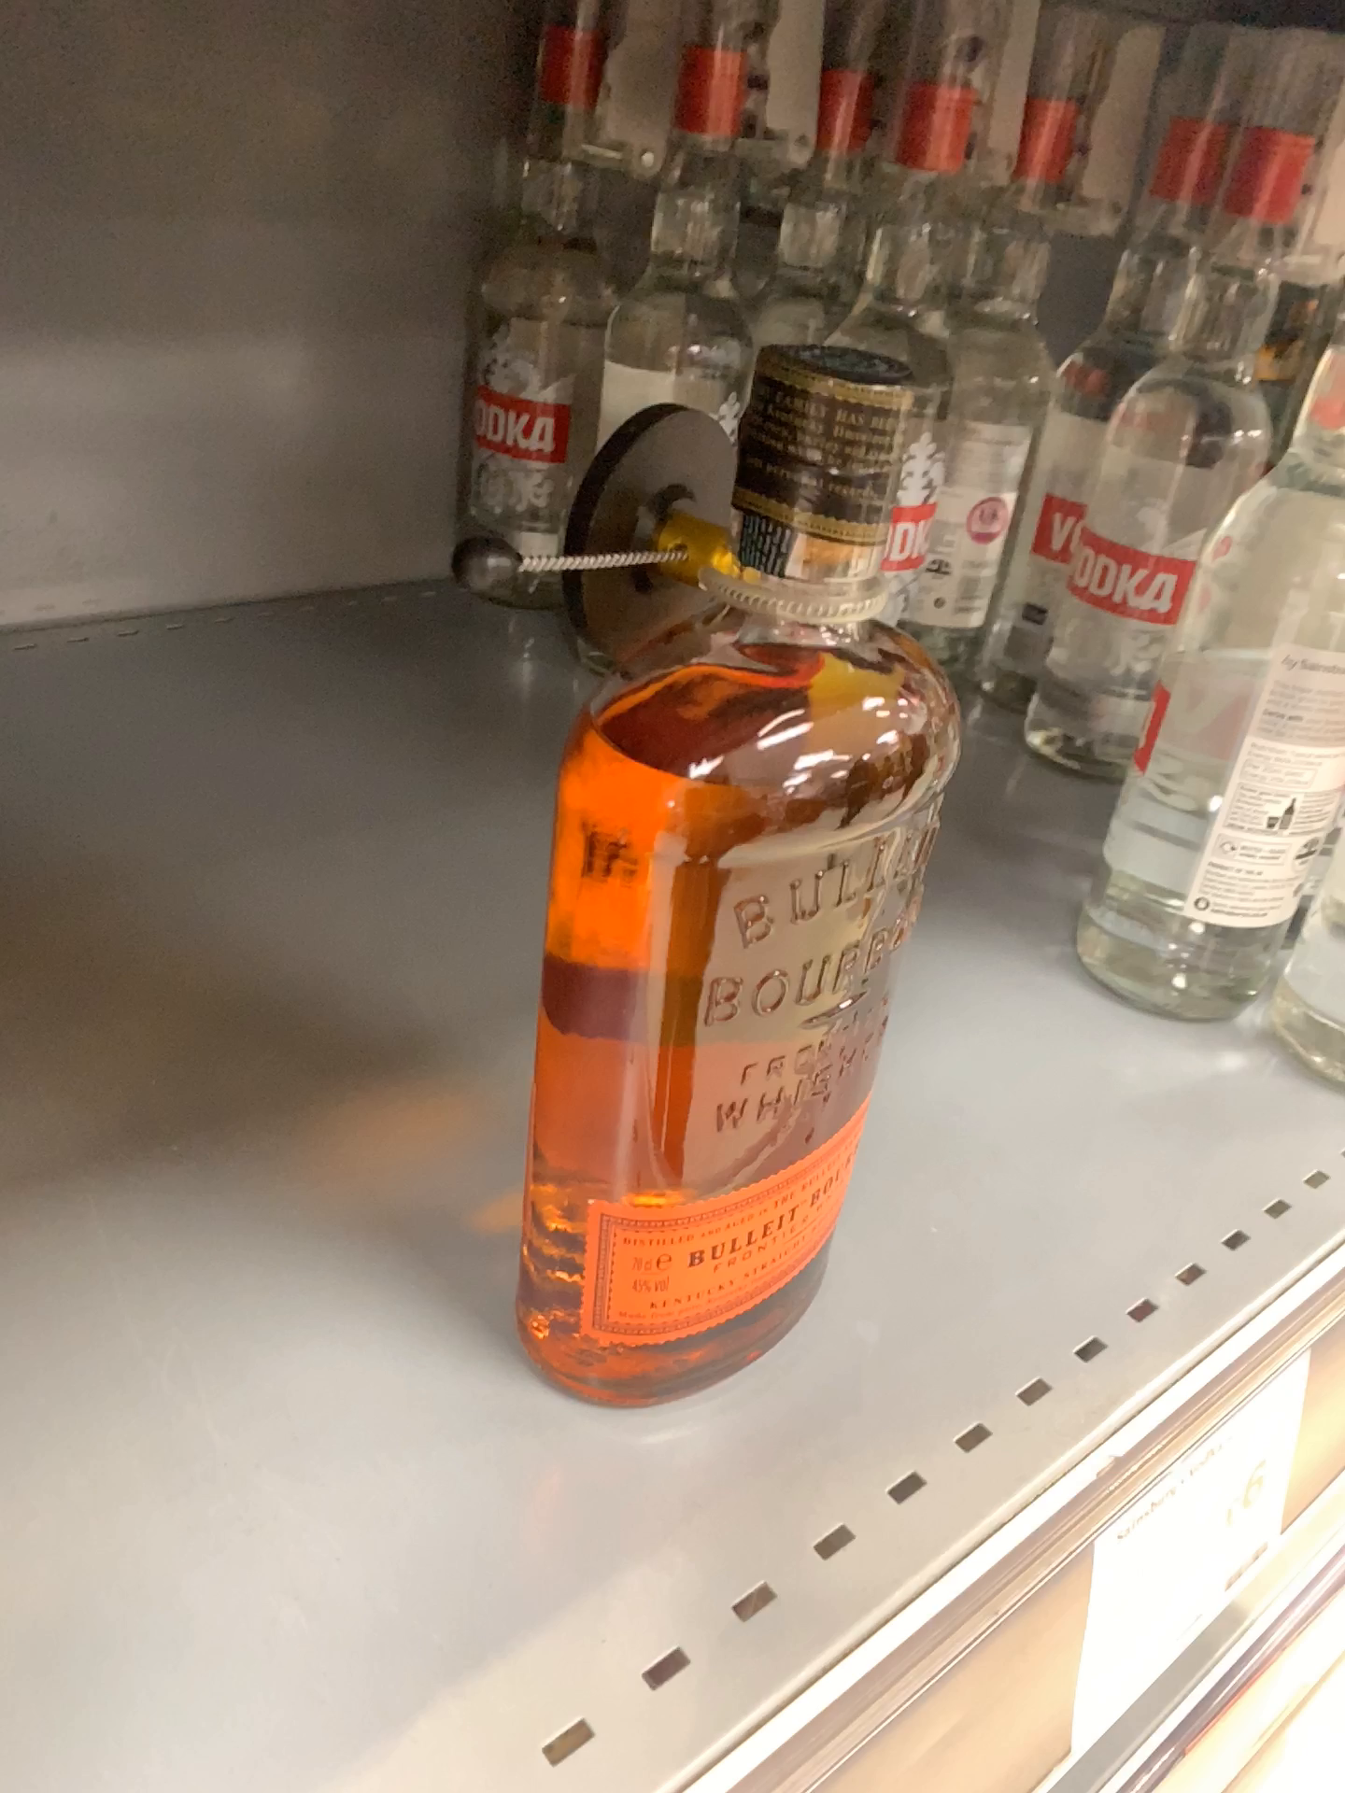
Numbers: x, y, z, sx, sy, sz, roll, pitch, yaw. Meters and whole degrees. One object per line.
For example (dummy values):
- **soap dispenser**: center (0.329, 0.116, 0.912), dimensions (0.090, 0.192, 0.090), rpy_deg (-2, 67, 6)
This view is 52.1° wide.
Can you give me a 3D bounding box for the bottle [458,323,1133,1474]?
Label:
- **bottle**: center (0.016, 0.004, 0.300), dimensions (0.100, 0.228, 0.060), rpy_deg (-22, 42, -41)
